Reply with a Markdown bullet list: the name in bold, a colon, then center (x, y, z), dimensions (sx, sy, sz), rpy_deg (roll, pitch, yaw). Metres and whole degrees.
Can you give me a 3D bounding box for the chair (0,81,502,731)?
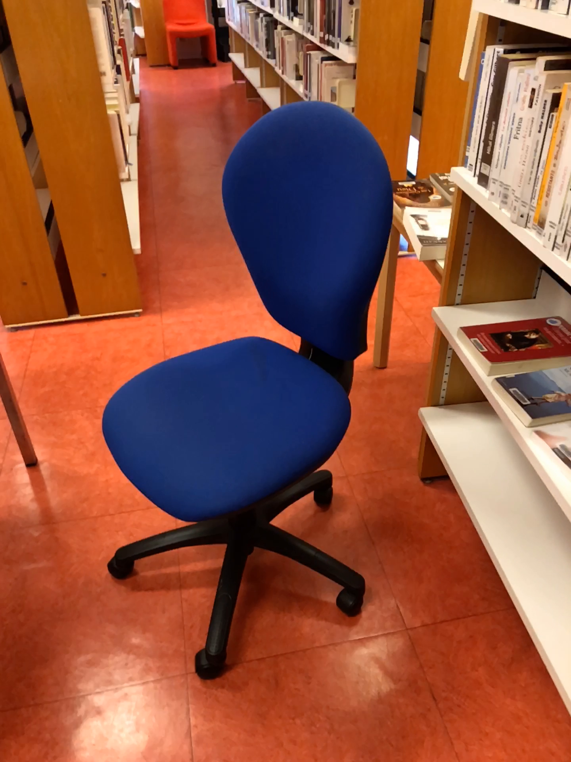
- **chair**: center (-0.126, -0.004, 1.230), dimensions (0.622, 0.914, 0.662), rpy_deg (-22, 40, -26)
